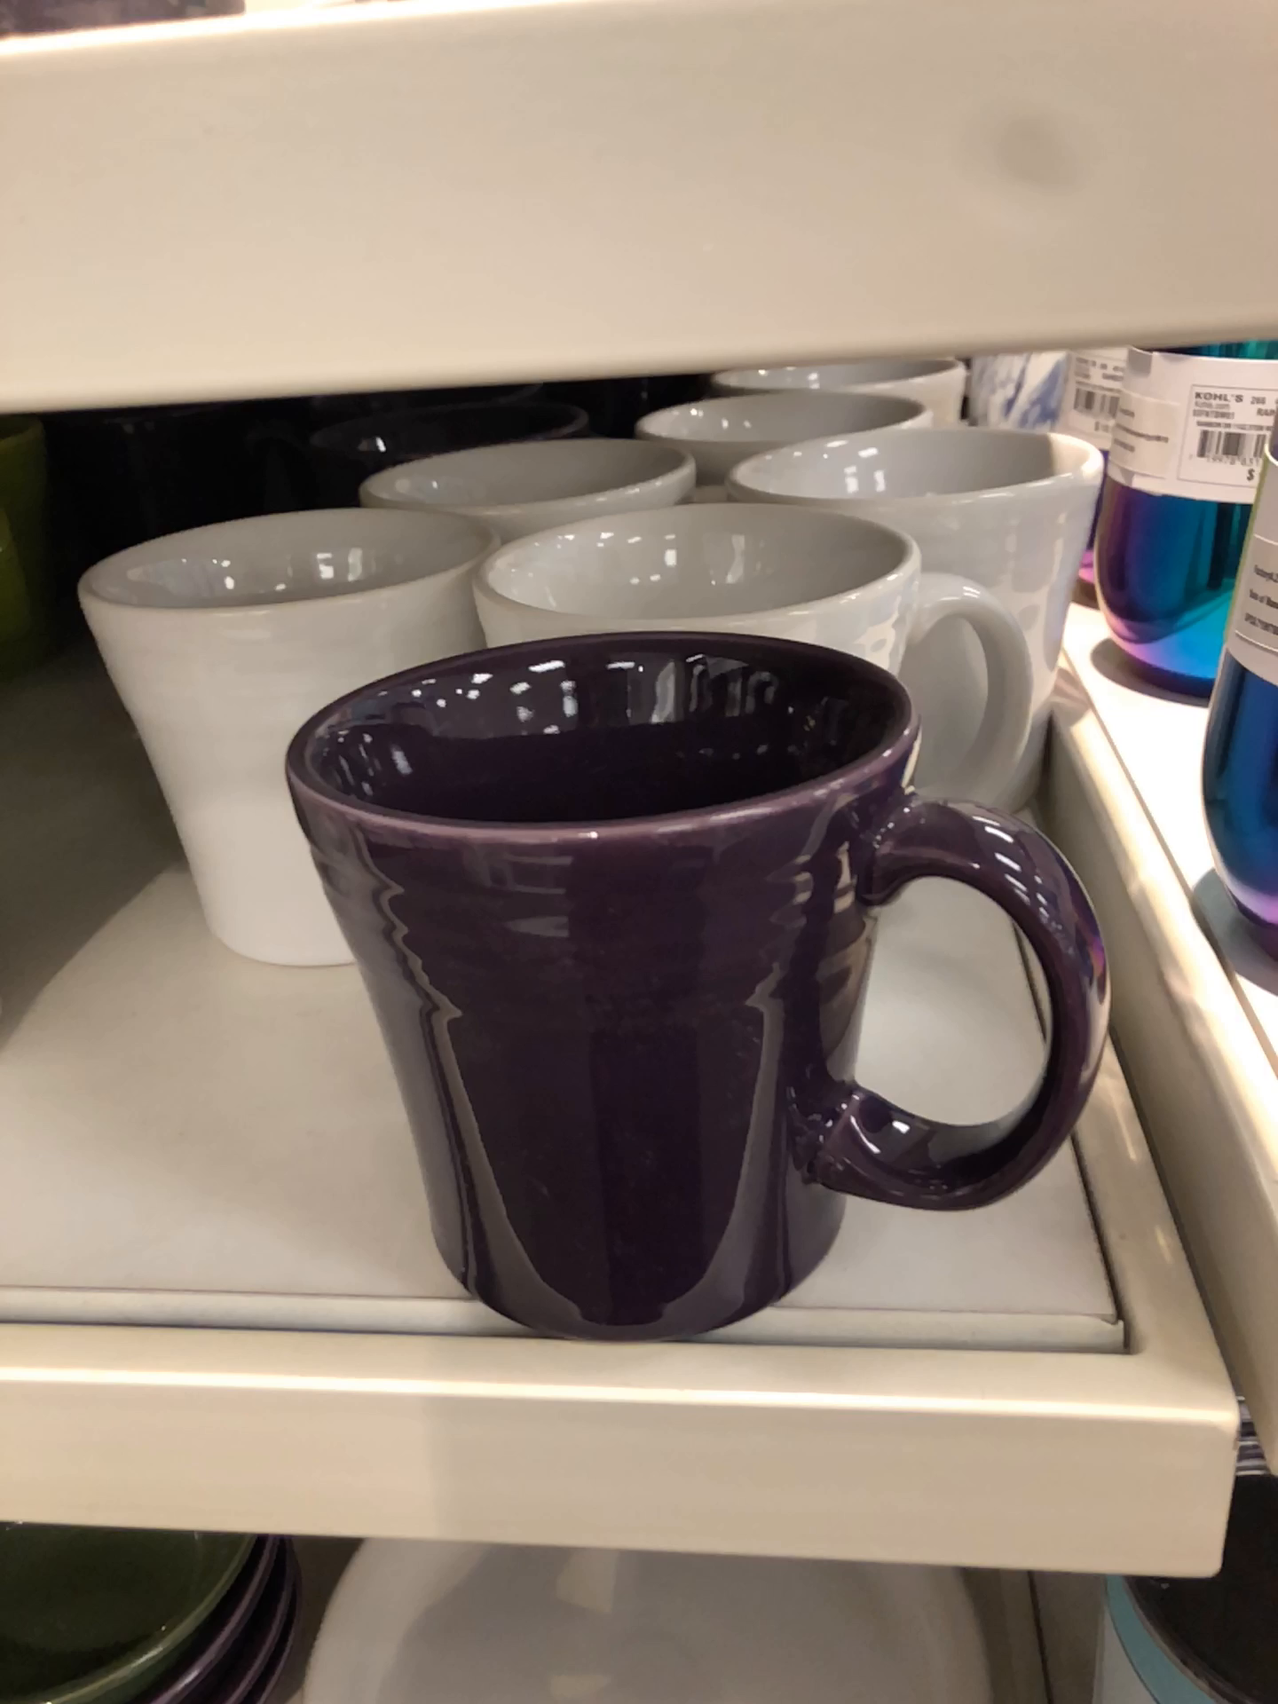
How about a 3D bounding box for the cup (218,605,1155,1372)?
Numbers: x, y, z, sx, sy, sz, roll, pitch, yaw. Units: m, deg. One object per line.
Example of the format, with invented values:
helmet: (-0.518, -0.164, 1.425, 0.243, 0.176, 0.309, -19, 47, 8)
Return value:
cup: (0.012, 0.020, 0.254, 0.127, 0.099, 0.090, -1, 27, 7)
